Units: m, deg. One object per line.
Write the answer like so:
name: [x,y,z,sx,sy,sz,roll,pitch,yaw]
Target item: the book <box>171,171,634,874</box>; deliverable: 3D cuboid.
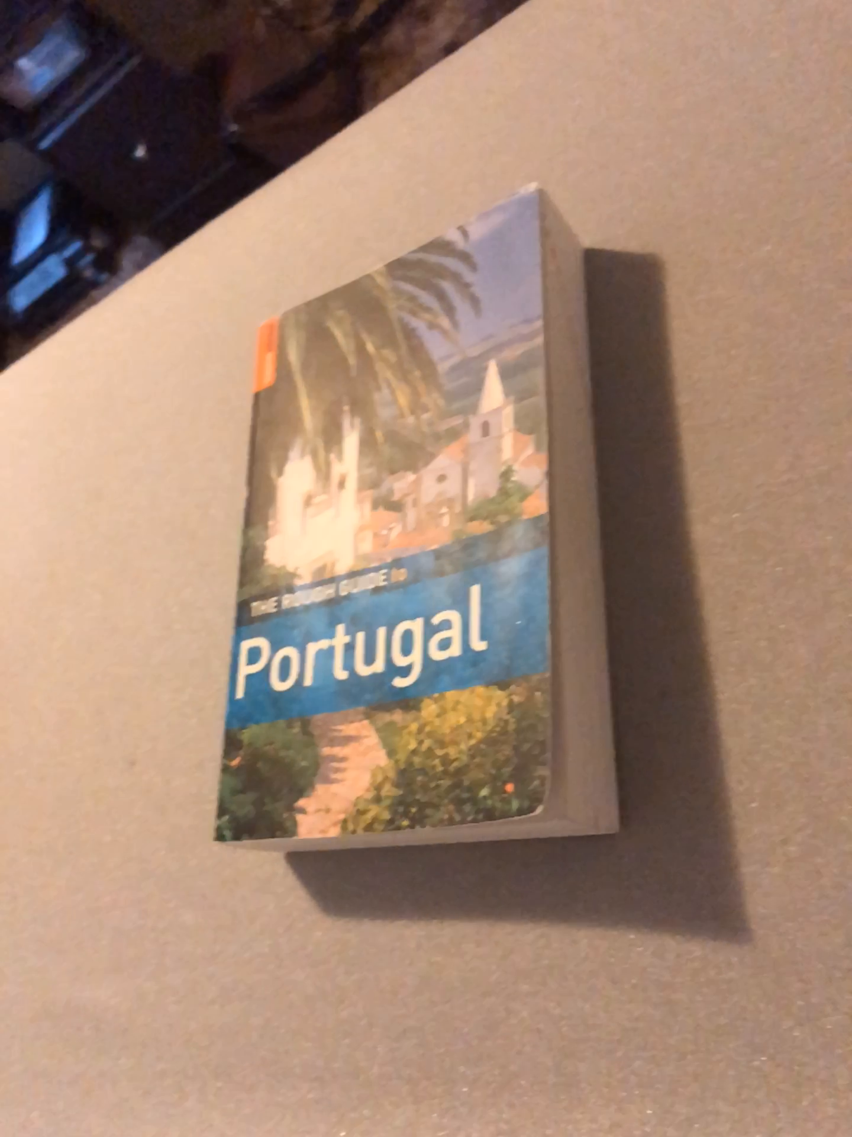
book: [-0.010,-0.010,0.315,0.139,0.040,0.204,-15,63,34]
